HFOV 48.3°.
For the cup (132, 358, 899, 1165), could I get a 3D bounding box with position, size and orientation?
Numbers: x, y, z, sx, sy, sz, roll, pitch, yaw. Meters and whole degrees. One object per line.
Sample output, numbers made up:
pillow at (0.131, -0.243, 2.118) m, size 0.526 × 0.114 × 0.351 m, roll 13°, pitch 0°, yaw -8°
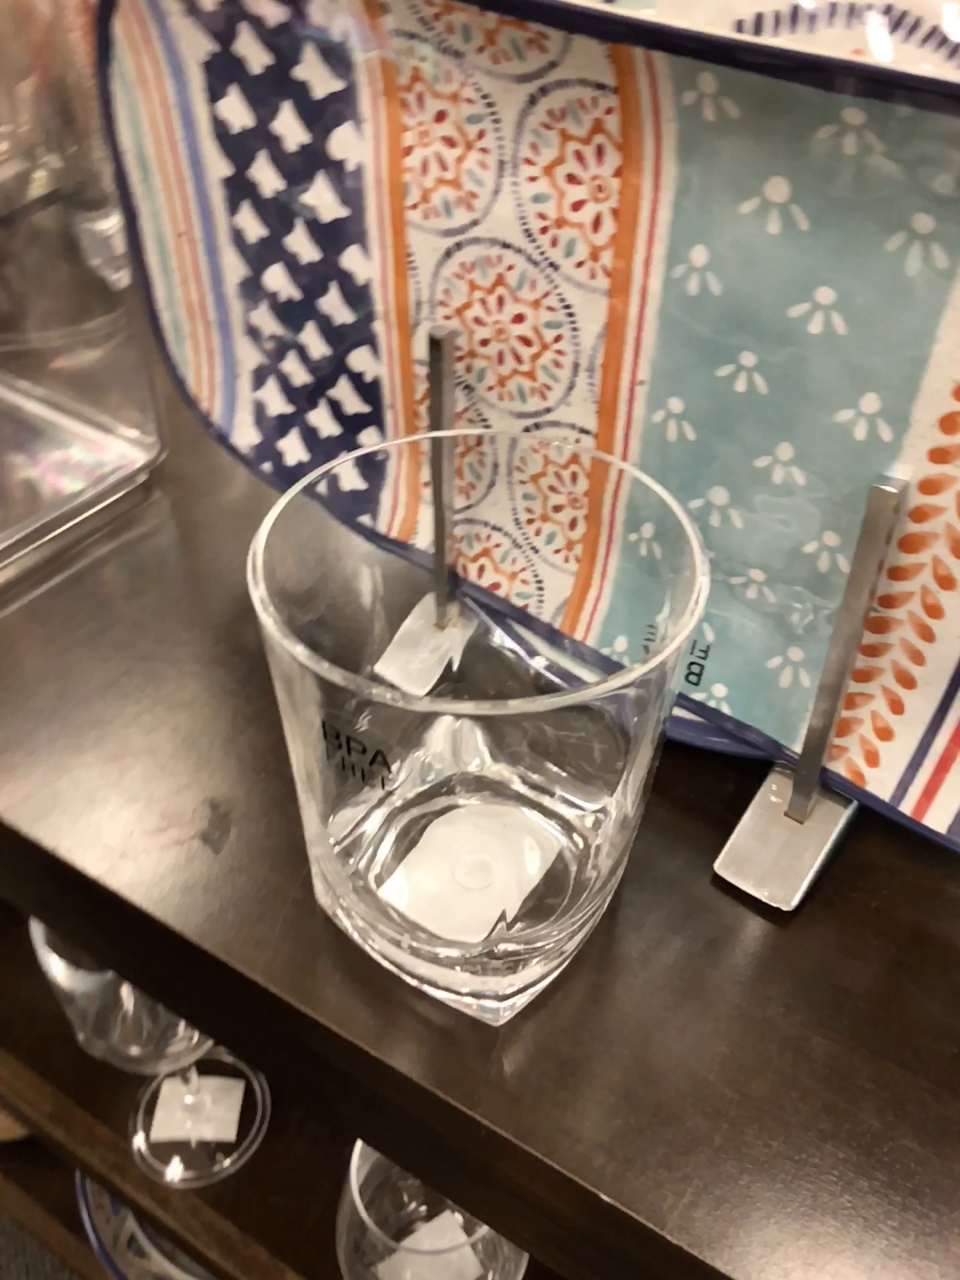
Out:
cup at (0.010, 0.021, 0.253) m, size 0.114 × 0.111 × 0.108 m, roll 0°, pitch 42°, yaw 0°
